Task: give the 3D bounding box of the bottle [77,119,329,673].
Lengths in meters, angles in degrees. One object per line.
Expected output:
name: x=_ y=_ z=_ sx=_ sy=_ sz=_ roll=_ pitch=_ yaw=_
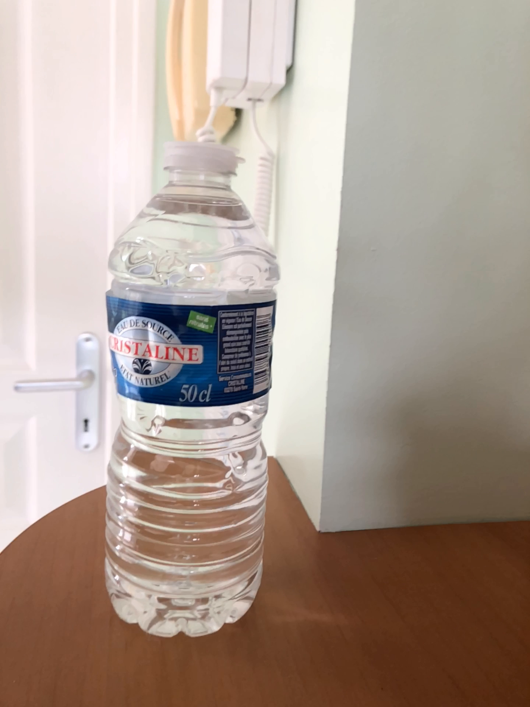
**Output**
bottle: x=-0.025 y=0.012 z=0.242 sx=0.070 sy=0.190 sz=0.070 roll=3 pitch=10 yaw=-1
